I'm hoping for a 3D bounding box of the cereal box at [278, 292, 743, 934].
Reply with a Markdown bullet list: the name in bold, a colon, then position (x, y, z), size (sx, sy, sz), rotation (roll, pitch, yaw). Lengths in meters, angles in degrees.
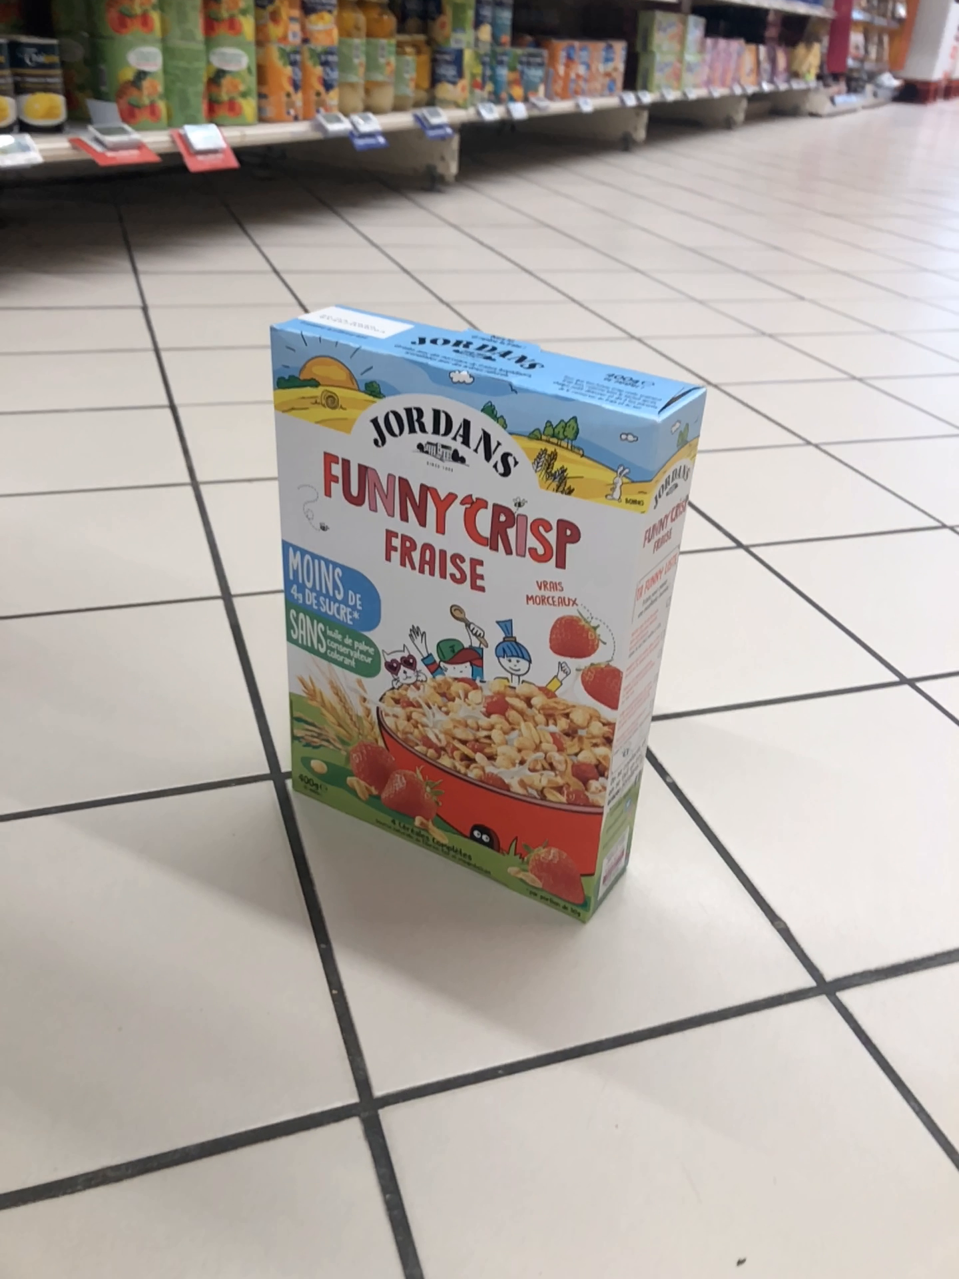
- **cereal box**: position (0.000, -0.011, 0.447), size (0.170, 0.229, 0.050), rotation (20, 33, 25)
